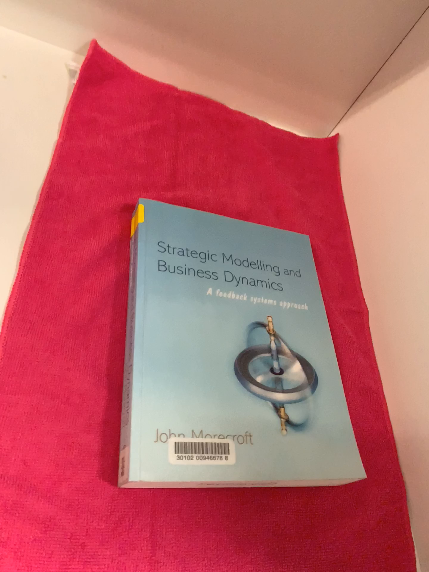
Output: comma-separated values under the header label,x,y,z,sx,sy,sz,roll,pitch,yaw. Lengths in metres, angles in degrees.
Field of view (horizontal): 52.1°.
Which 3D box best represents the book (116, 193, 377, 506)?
label,x,y,z,sx,sy,sz,roll,pitch,yaw
book,0.021,0.045,0.380,0.193,0.033,0.252,9,56,-21
